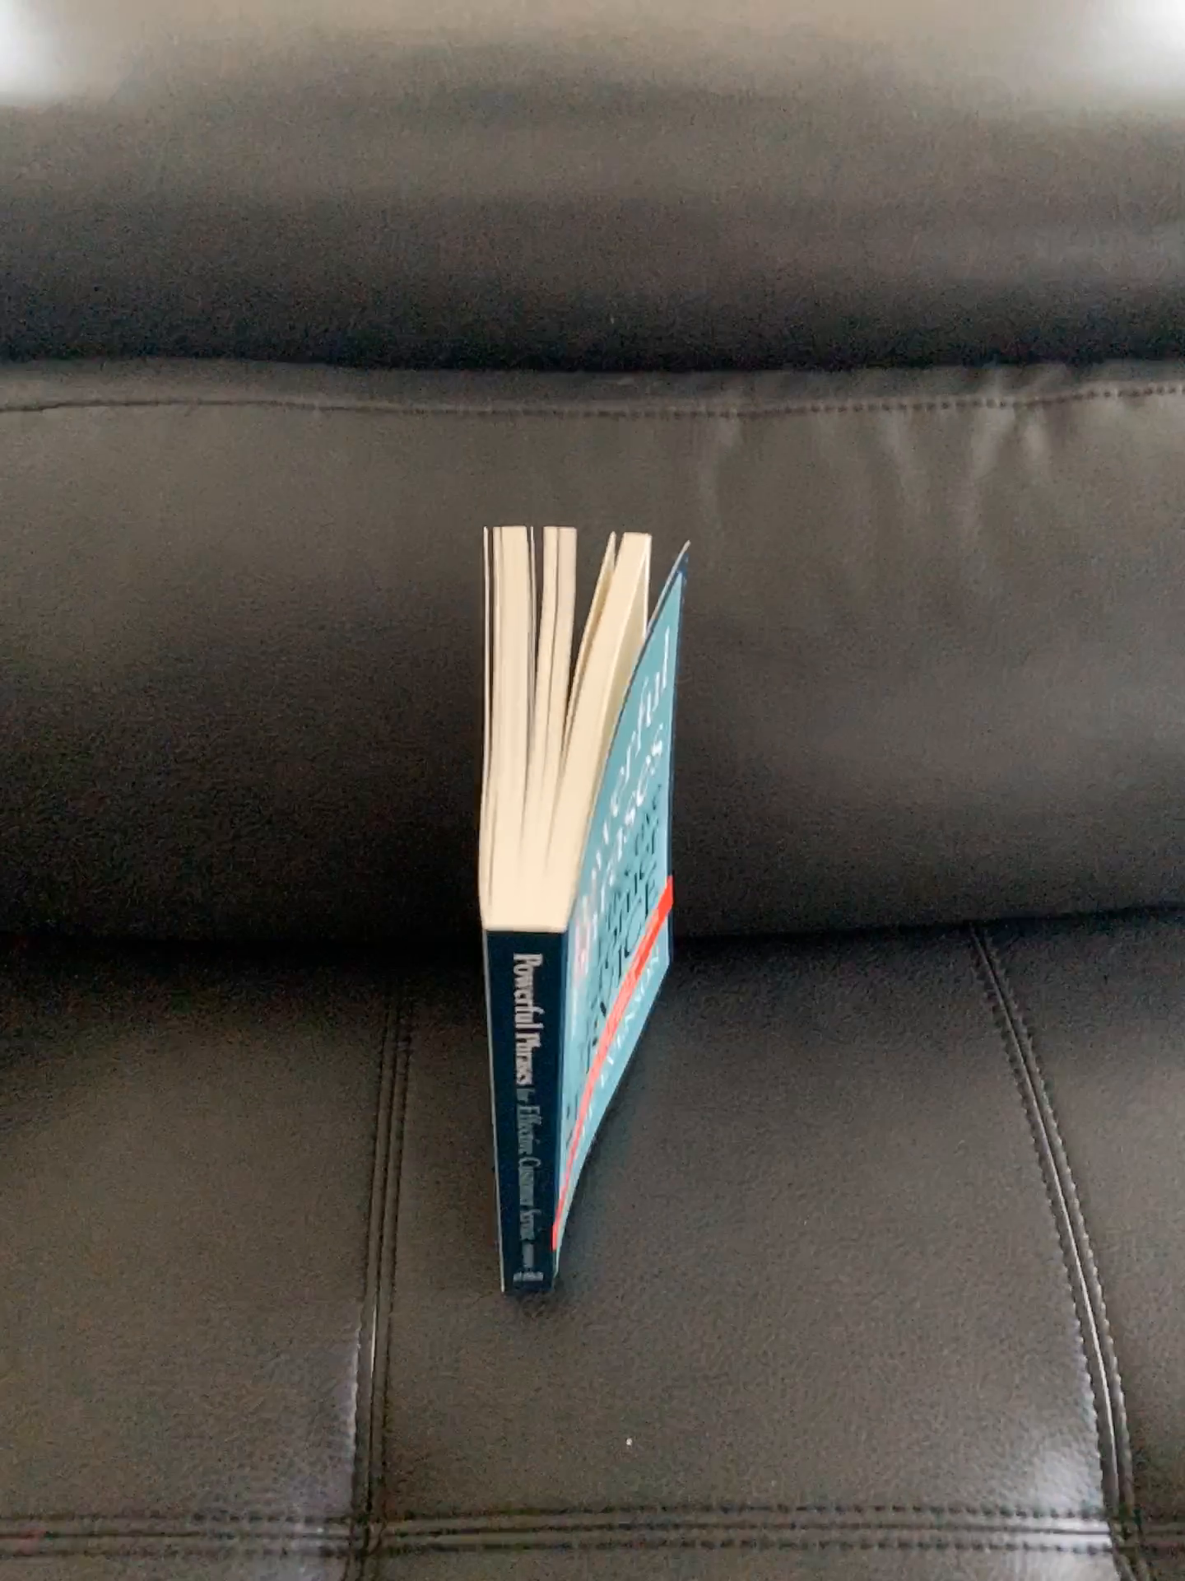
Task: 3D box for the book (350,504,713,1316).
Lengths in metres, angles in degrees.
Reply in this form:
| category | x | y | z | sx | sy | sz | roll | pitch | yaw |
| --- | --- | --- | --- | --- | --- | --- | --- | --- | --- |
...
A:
| category | x | y | z | sx | sy | sz | roll | pitch | yaw |
| --- | --- | --- | --- | --- | --- | --- | --- | --- | --- |
| book | -0.010 | 0.054 | 0.421 | 0.082 | 0.247 | 0.163 | 3 | 49 | 2 |
